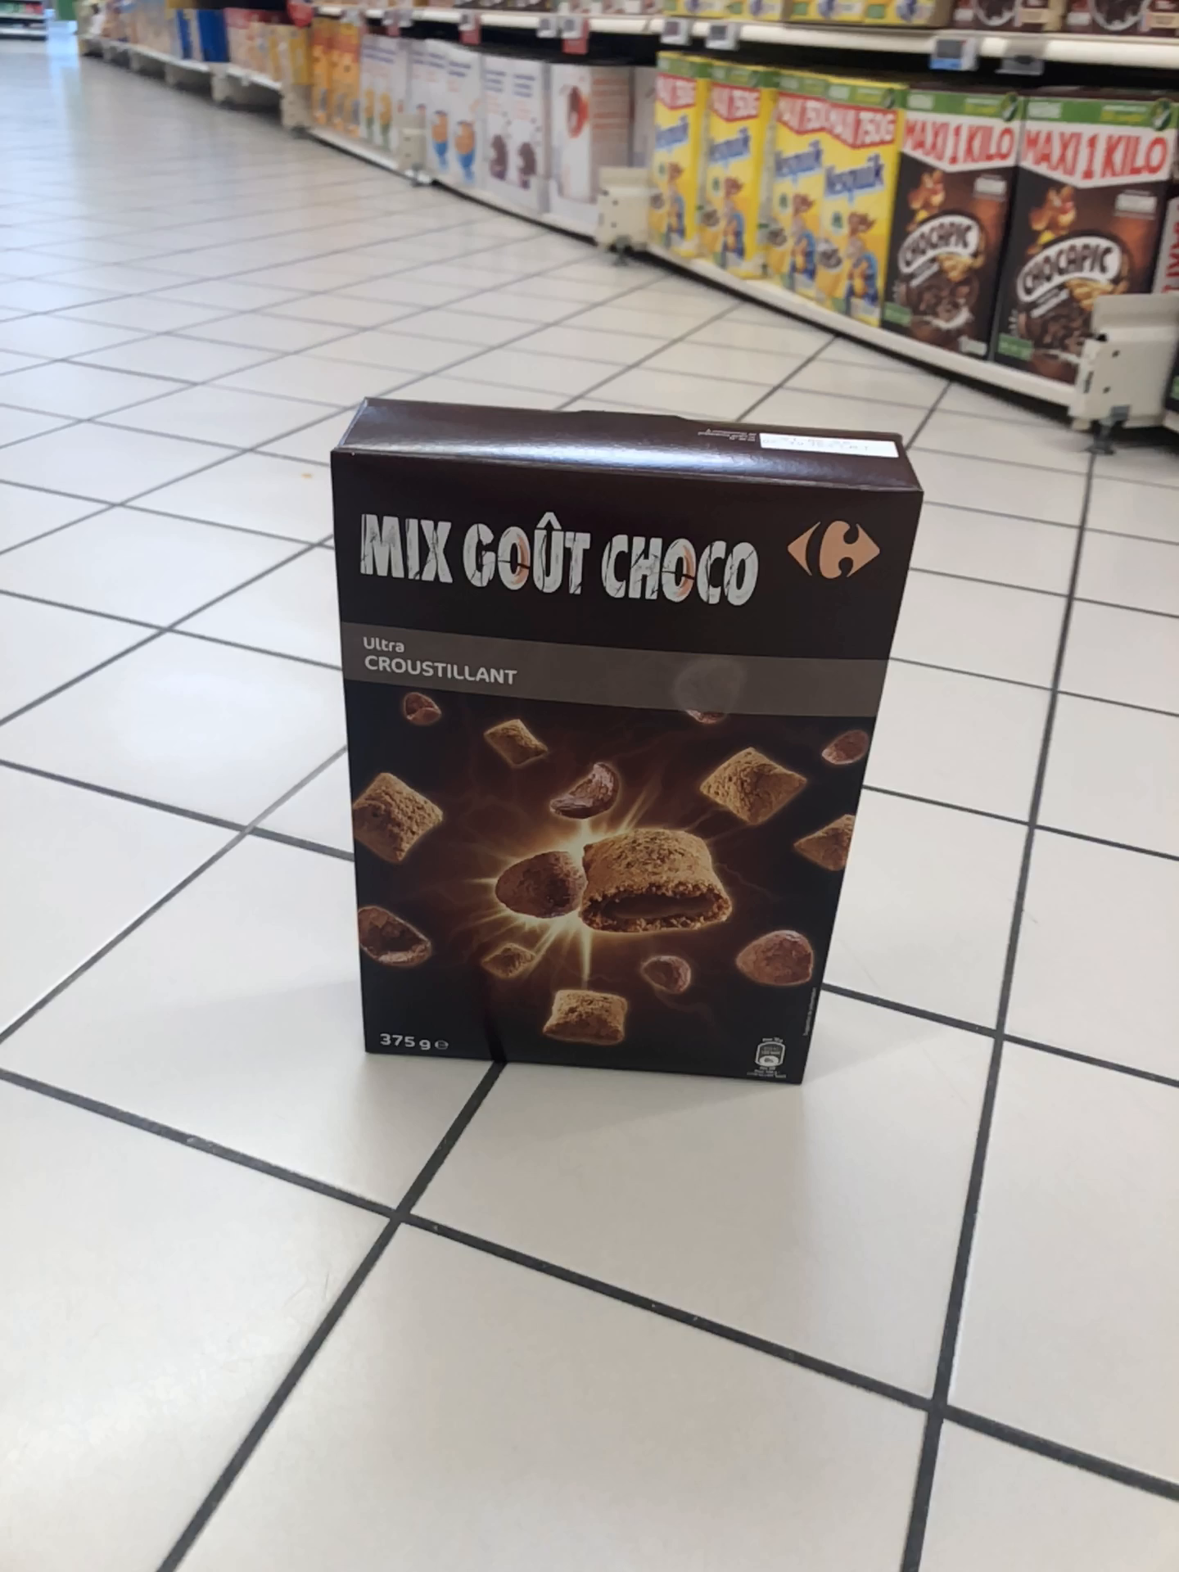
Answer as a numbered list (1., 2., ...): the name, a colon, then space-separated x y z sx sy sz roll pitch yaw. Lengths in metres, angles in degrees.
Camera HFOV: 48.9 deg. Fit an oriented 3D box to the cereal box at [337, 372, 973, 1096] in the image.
1. cereal box: 0.015 -0.010 0.512 0.200 0.268 0.081 4 32 0
